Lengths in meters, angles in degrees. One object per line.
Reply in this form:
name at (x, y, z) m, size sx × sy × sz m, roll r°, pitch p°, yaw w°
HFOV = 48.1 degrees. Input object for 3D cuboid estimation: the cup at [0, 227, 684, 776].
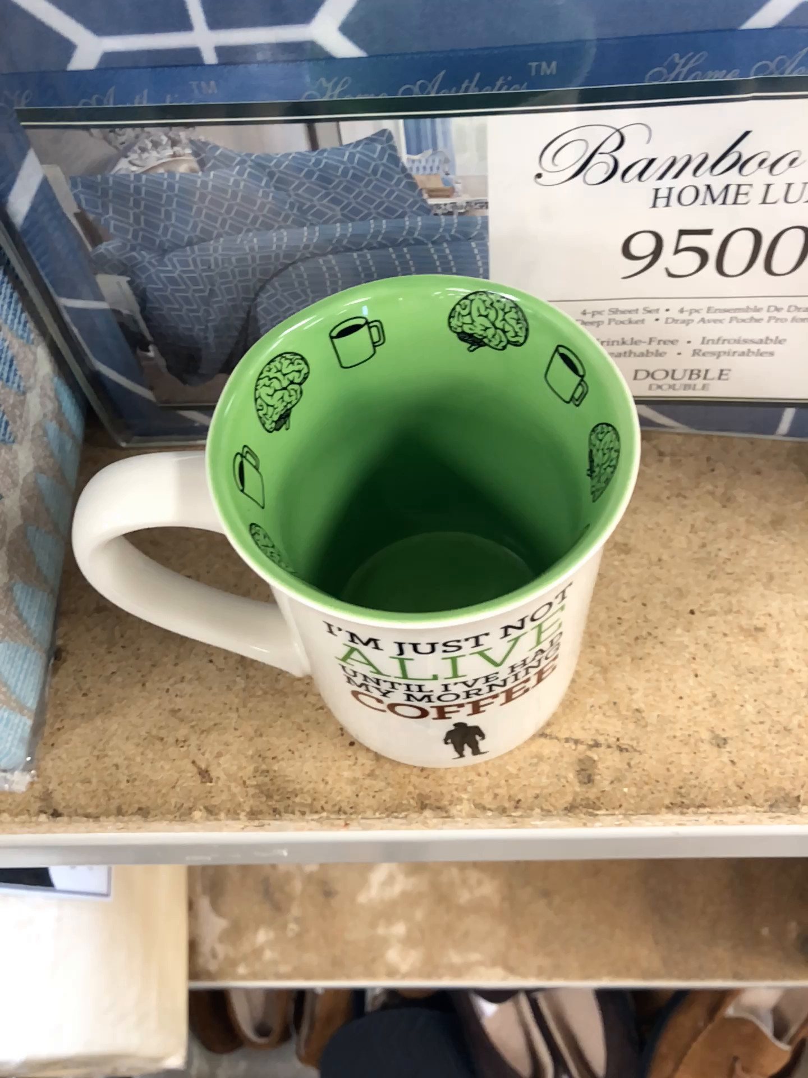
cup at (-0.009, -0.001, 0.258) m, size 0.138 × 0.124 × 0.099 m, roll -2°, pitch 59°, yaw 5°
